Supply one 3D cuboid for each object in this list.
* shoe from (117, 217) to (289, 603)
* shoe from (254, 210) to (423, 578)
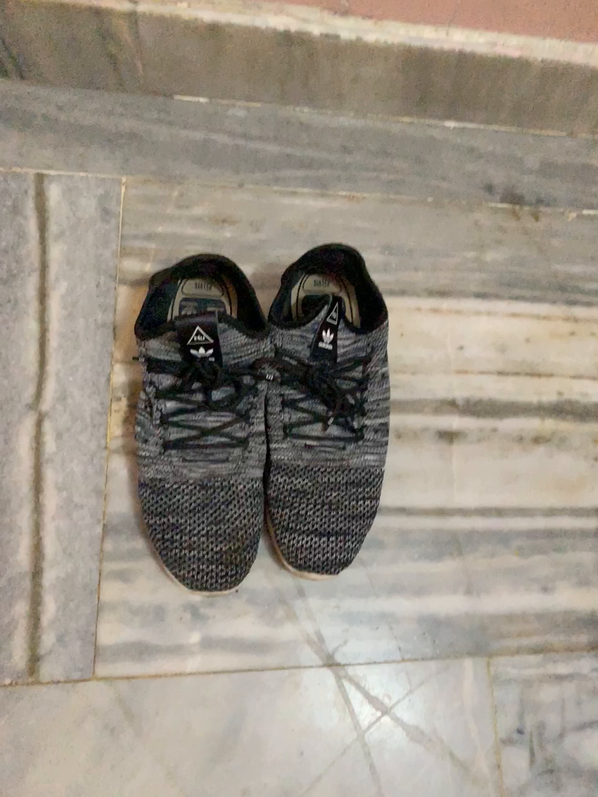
[{"bbox_3d":[-0.077,0.008,0.509,0.120,0.080,0.299,1,75,-10],"label":"shoe"},{"bbox_3d":[0.032,-0.002,0.532,0.120,0.080,0.299,4,74,-9],"label":"shoe"}]
